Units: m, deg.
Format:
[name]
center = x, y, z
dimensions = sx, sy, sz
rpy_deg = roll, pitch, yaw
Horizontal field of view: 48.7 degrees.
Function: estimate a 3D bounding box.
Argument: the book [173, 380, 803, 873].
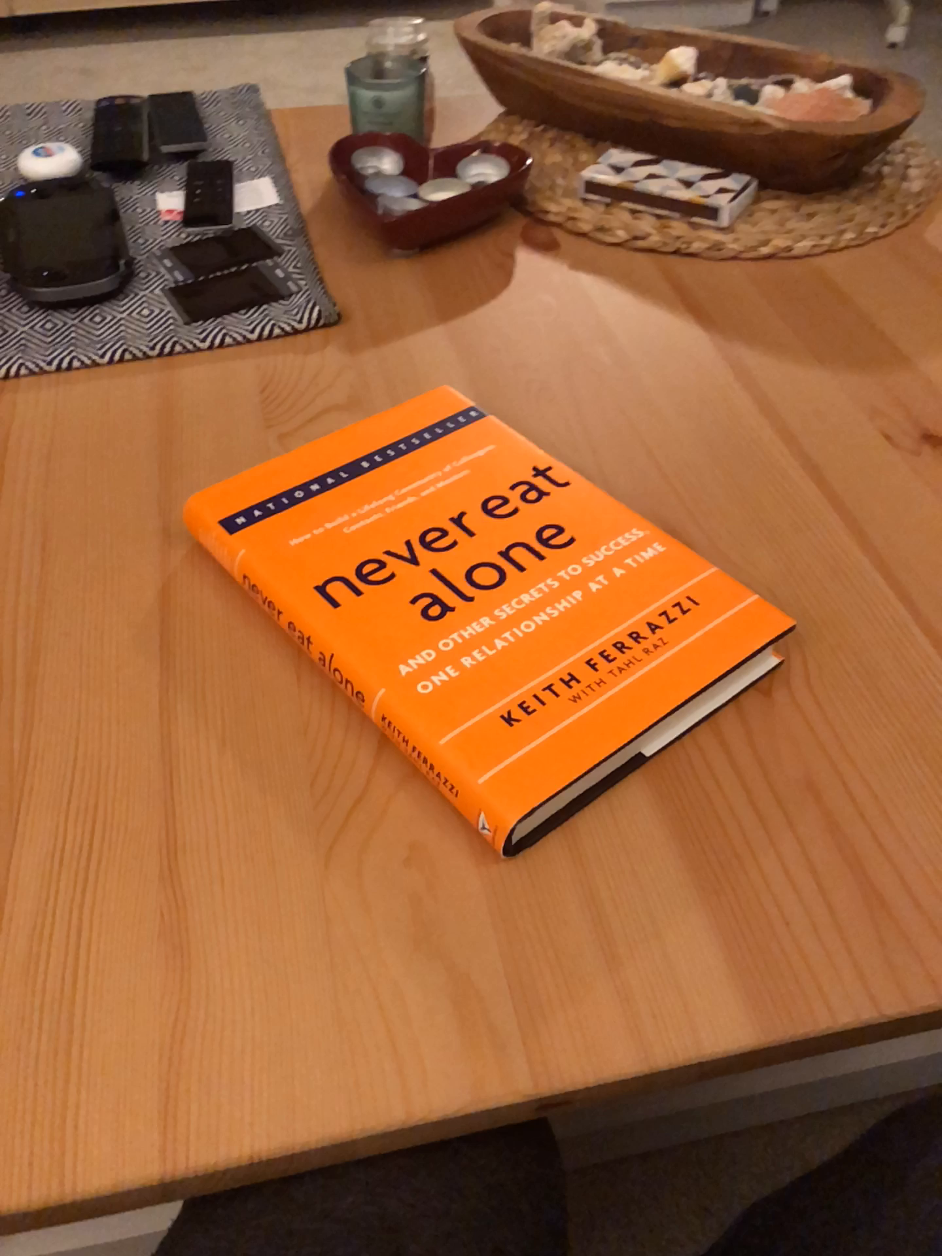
[book]
center = -0.001, -0.023, 0.473
dimensions = 0.167, 0.025, 0.241
rpy_deg = -30, 52, -27
